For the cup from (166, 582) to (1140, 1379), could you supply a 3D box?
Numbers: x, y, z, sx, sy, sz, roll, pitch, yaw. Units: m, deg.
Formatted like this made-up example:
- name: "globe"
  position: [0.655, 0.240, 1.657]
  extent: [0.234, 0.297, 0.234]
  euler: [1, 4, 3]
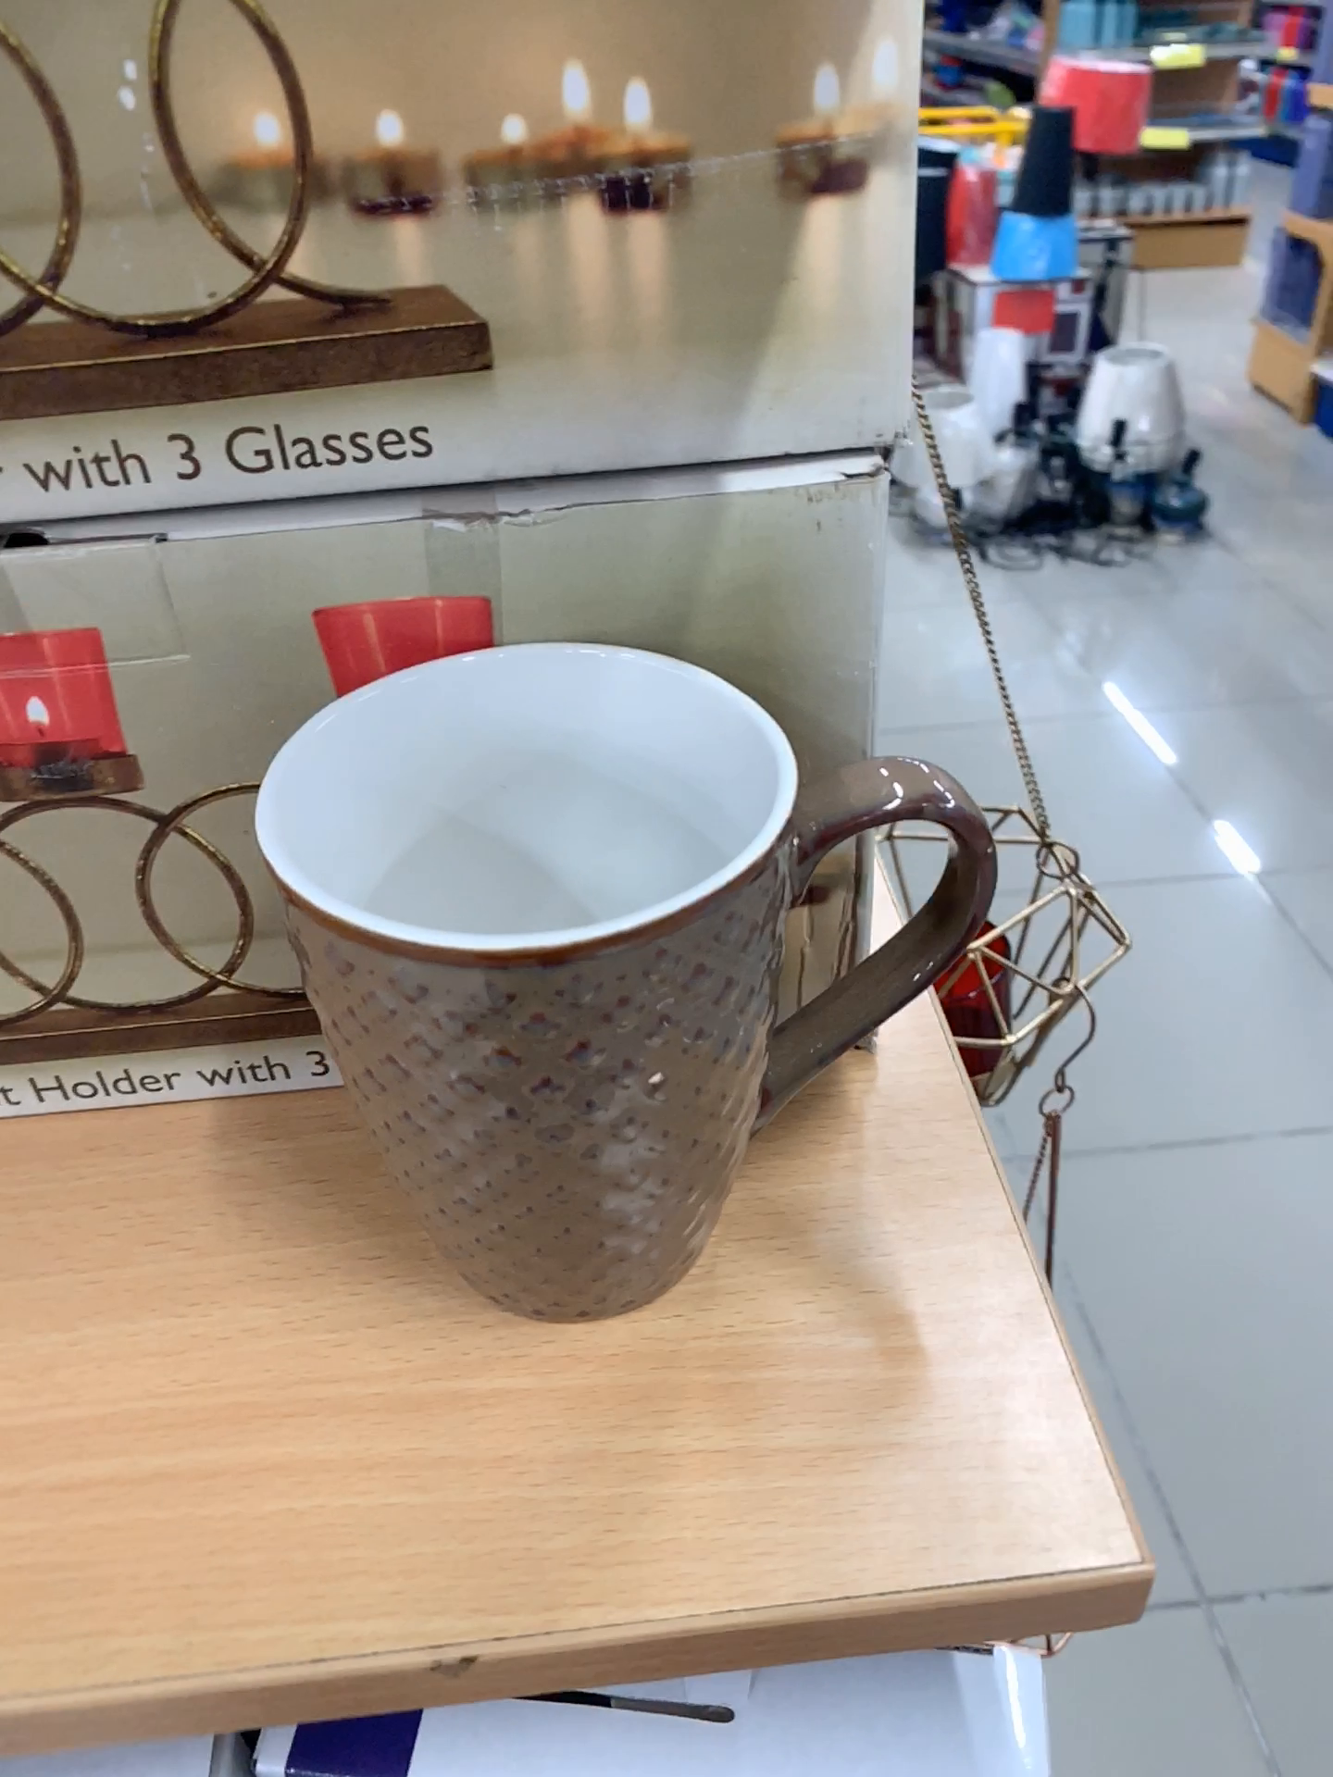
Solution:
- name: "cup"
  position: [-0.005, 0.011, 0.244]
  extent: [0.130, 0.090, 0.090]
  euler: [-6, 34, -6]
